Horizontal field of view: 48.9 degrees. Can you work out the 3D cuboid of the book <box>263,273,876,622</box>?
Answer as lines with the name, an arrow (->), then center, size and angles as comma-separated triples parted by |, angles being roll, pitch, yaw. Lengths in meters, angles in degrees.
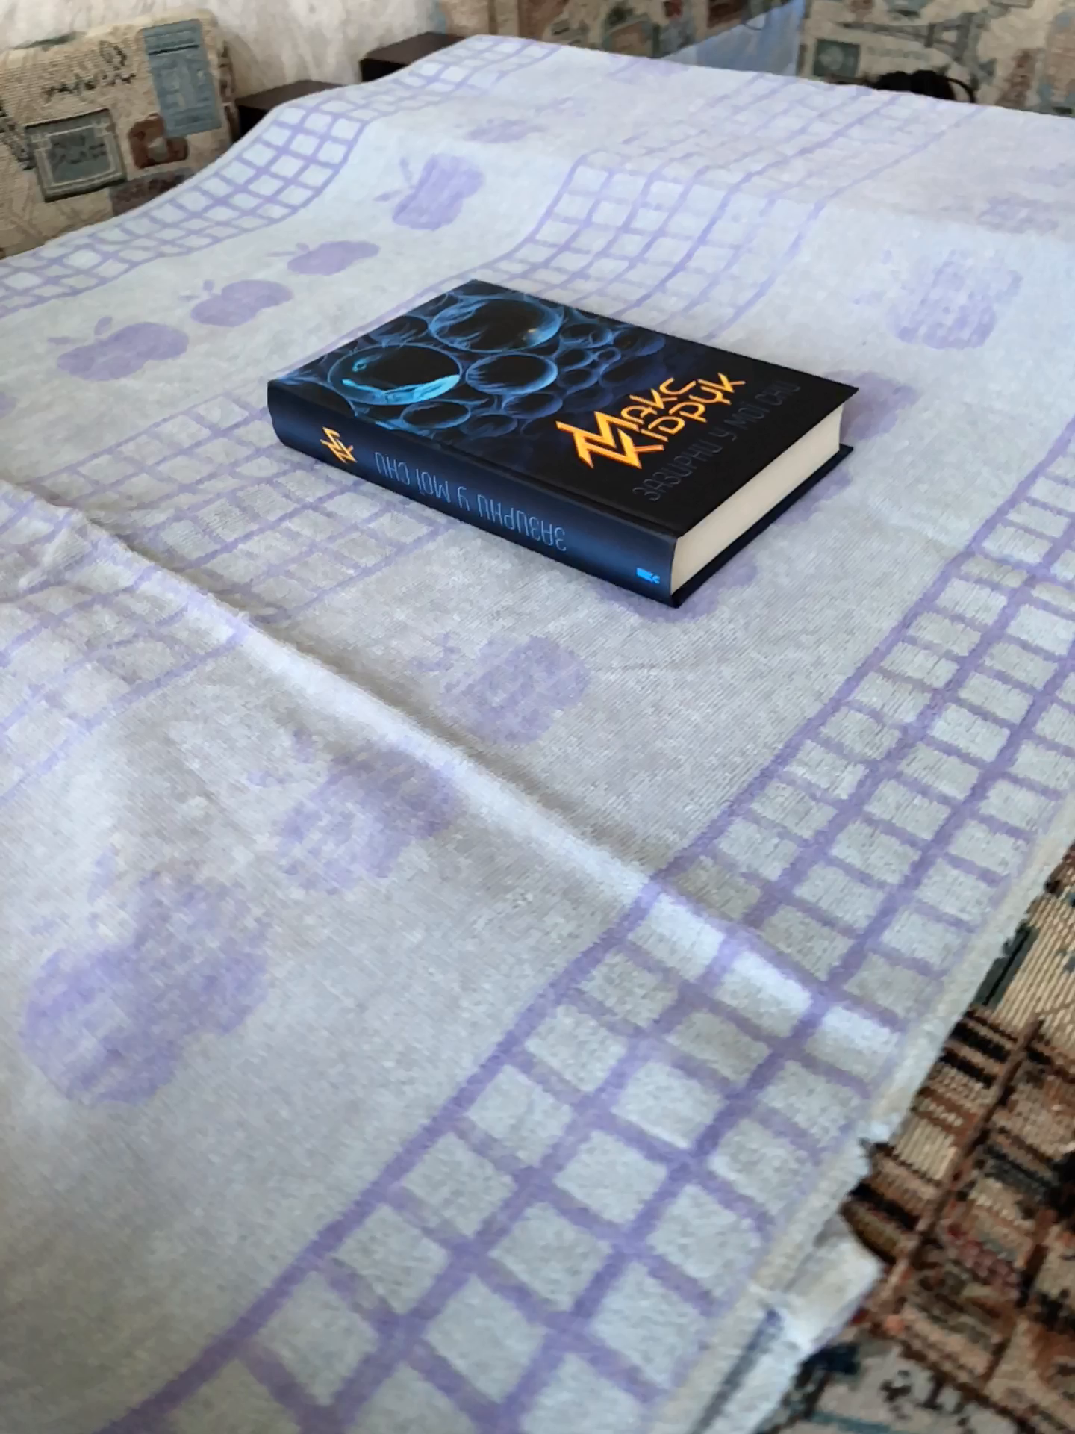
book -> 0.010, -0.129, 0.513 | 0.221, 0.035, 0.141 | 27, 49, 30
